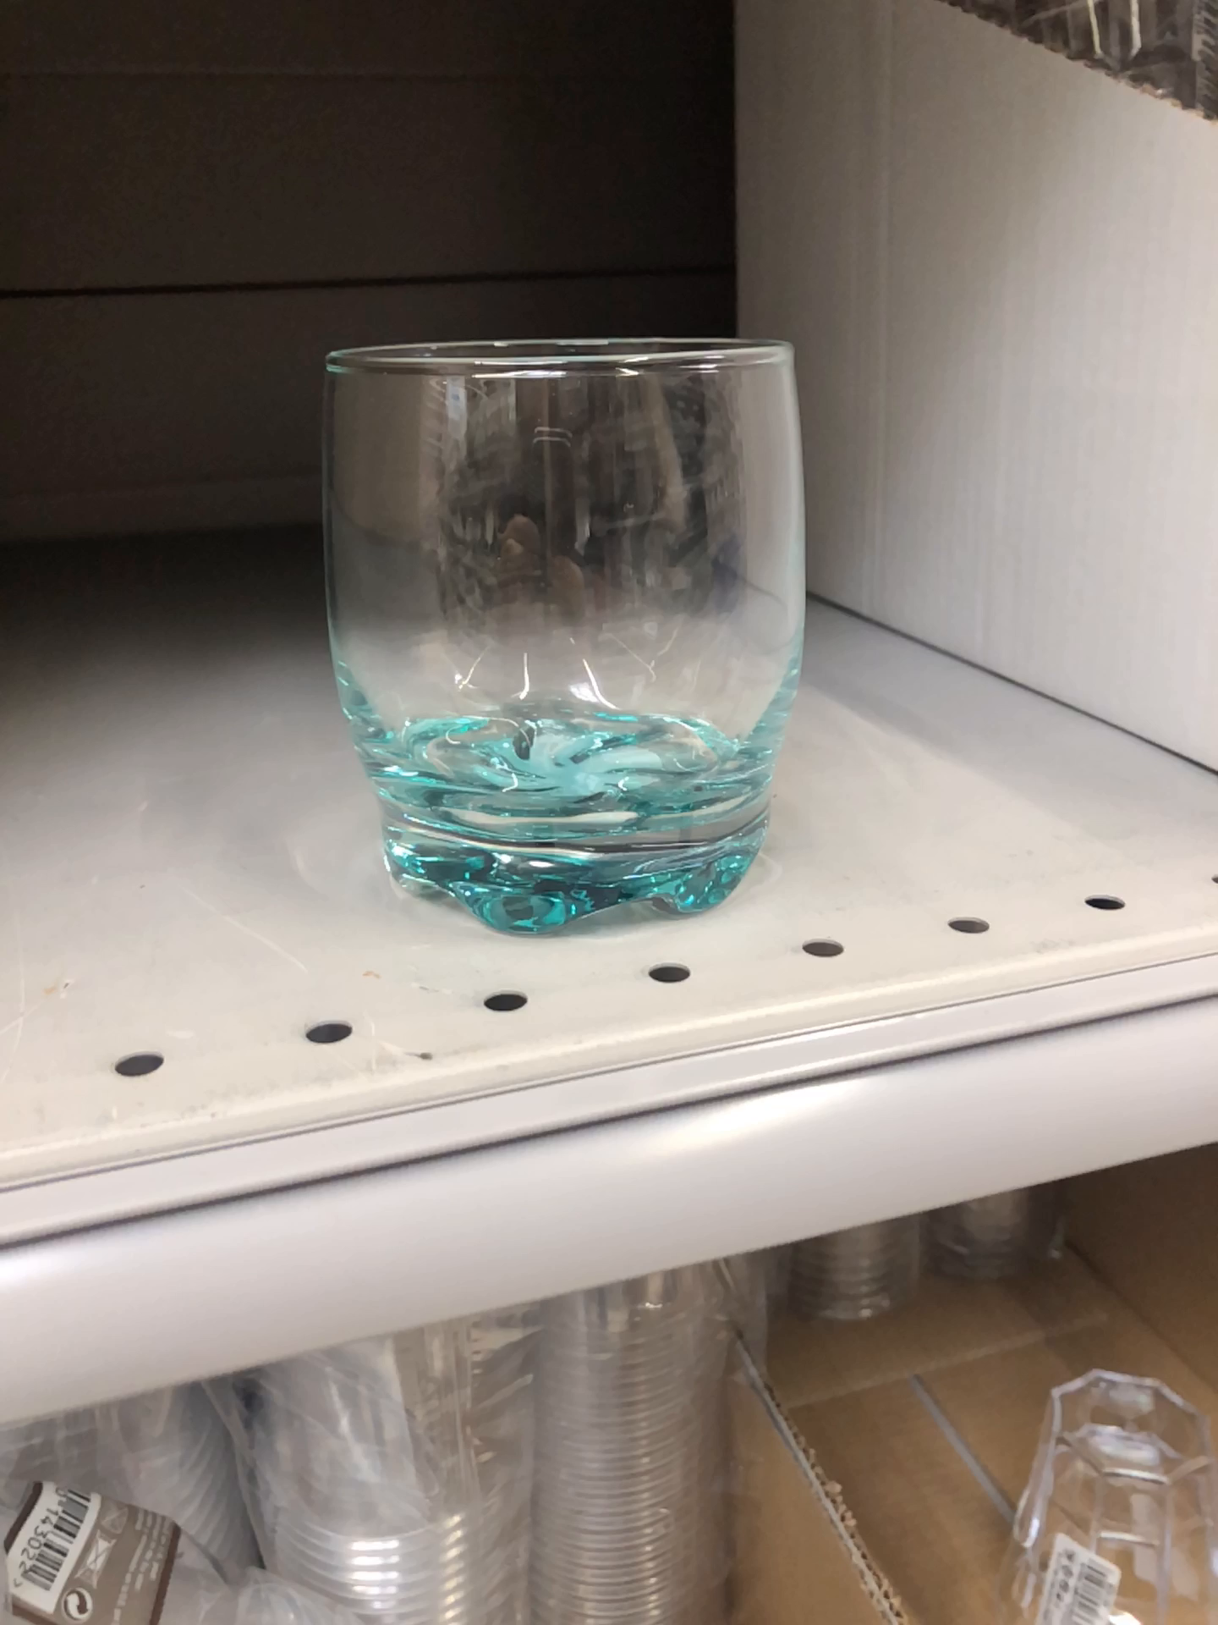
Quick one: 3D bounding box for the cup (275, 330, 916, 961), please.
[{"bbox_3d":[-0.006,-0.033,0.220,0.082,0.082,0.074,-4,21,-10],"label":"cup"}]
